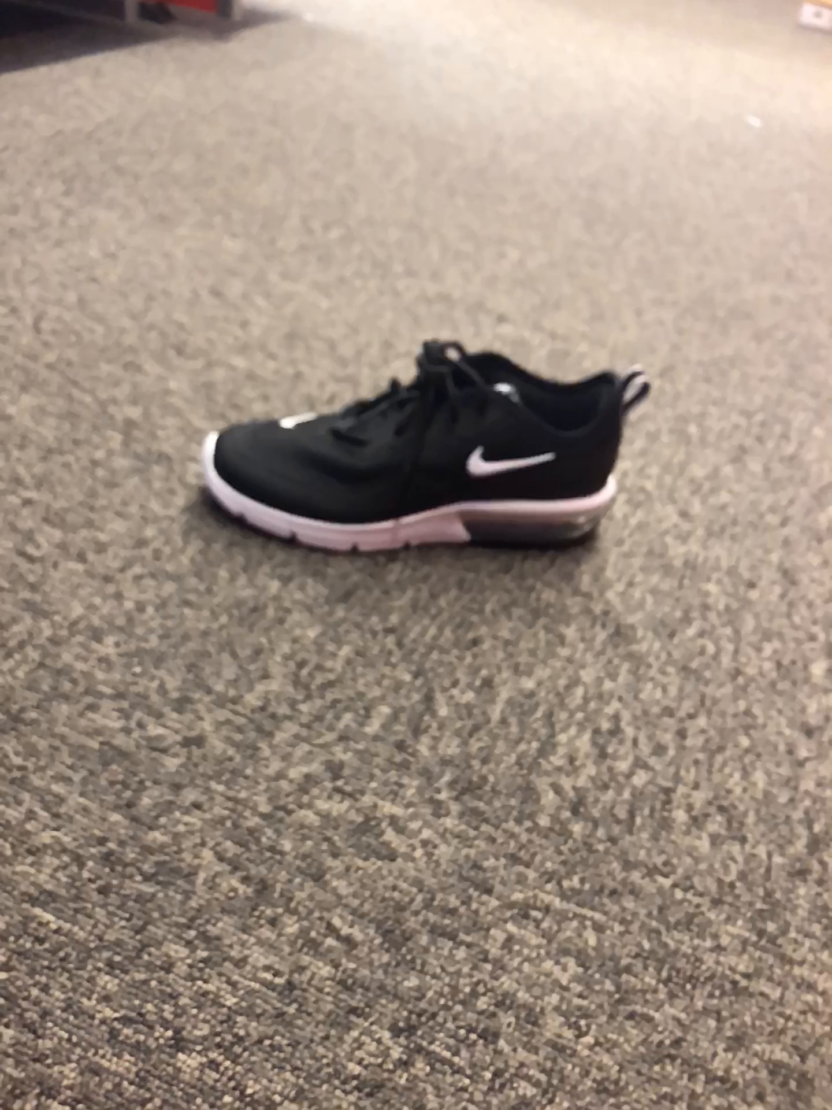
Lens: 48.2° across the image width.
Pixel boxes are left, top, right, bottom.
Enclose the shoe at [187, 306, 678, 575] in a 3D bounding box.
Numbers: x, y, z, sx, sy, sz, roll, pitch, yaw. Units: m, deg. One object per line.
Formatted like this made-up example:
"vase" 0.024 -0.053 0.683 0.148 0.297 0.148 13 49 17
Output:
"shoe" 0.005 -0.067 0.554 0.256 0.109 0.101 2 39 -6
